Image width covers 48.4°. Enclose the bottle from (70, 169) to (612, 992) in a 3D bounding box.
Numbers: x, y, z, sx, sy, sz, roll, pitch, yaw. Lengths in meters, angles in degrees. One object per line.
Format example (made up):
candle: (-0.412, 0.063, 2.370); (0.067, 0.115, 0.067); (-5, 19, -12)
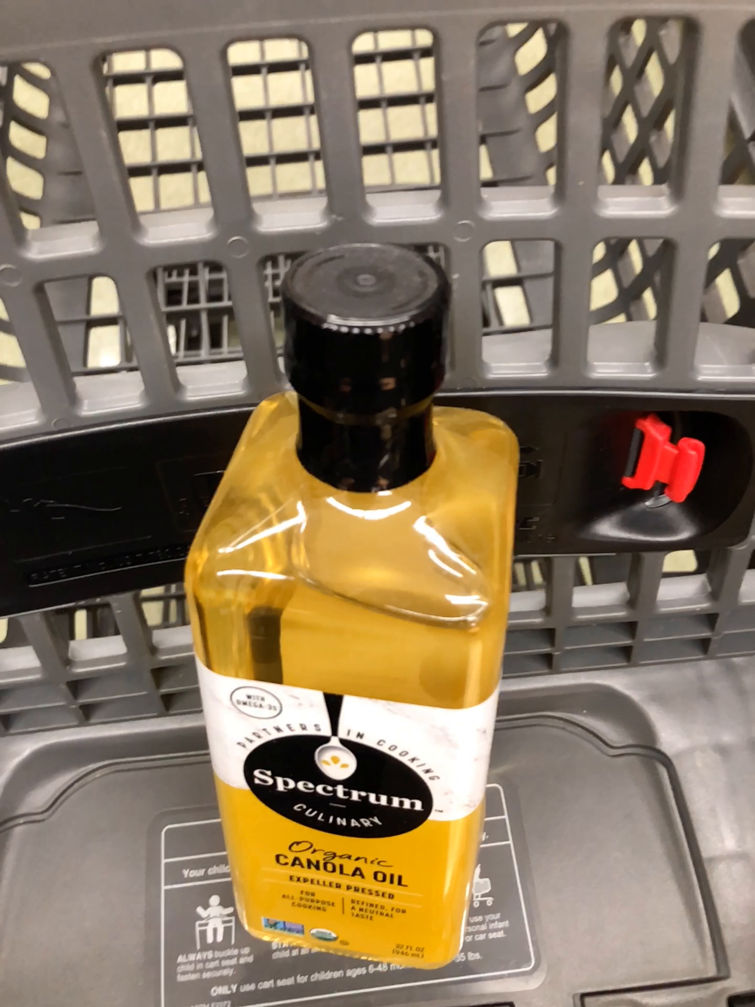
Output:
bottle: (0.000, 0.045, 0.254); (0.090, 0.250, 0.090); (0, 43, 0)
